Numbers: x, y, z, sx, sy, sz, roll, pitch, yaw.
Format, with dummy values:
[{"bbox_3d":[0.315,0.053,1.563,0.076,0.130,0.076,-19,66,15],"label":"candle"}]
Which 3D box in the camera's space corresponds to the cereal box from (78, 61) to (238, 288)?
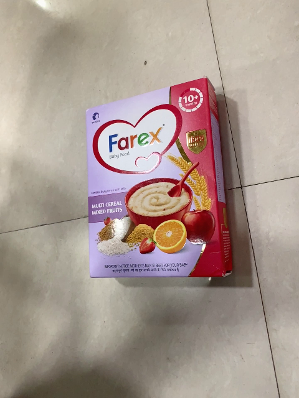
[{"bbox_3d":[0.005,-0.016,0.335,0.150,0.060,0.210,-7,82,22],"label":"cereal box"}]
